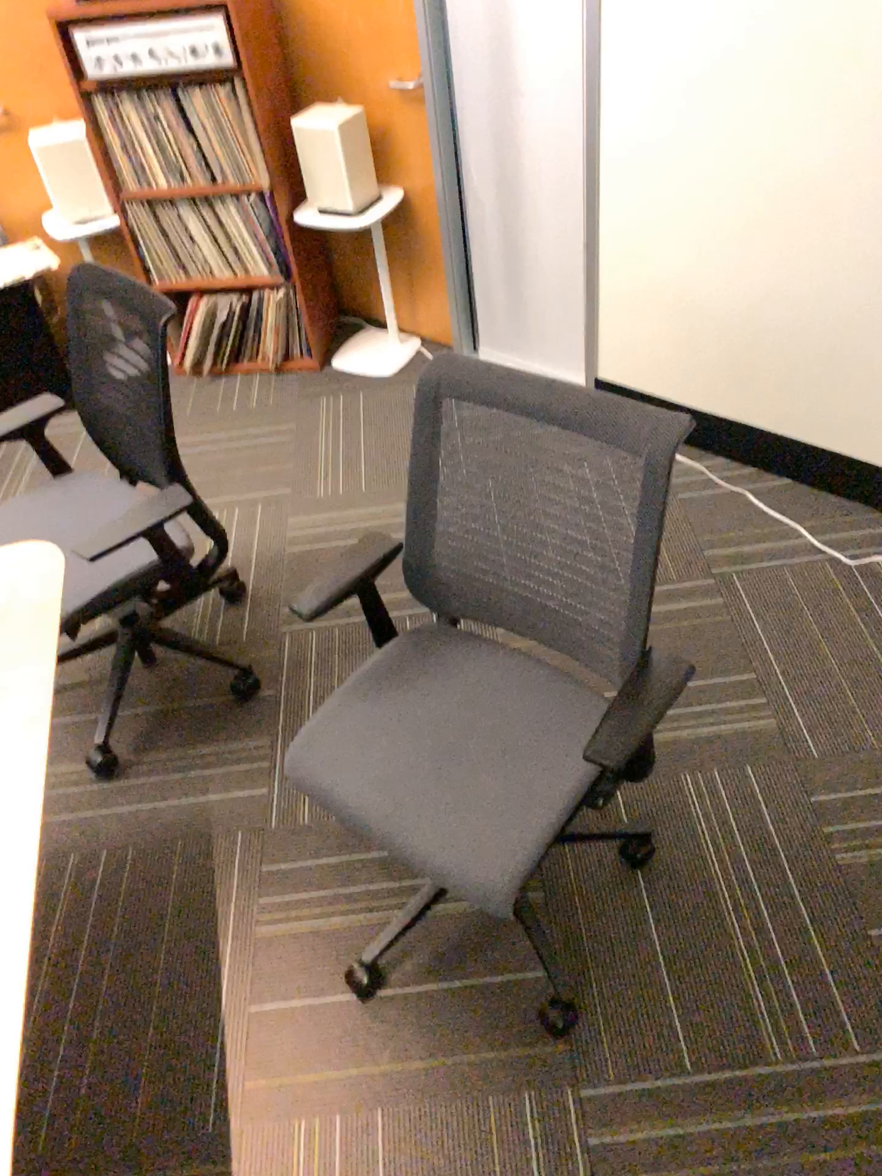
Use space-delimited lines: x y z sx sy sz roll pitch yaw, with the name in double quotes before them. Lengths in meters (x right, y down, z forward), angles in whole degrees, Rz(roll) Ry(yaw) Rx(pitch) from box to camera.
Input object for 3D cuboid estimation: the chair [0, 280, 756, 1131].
"chair" -0.030 0.209 1.637 0.792 1.114 0.802 21 52 27
